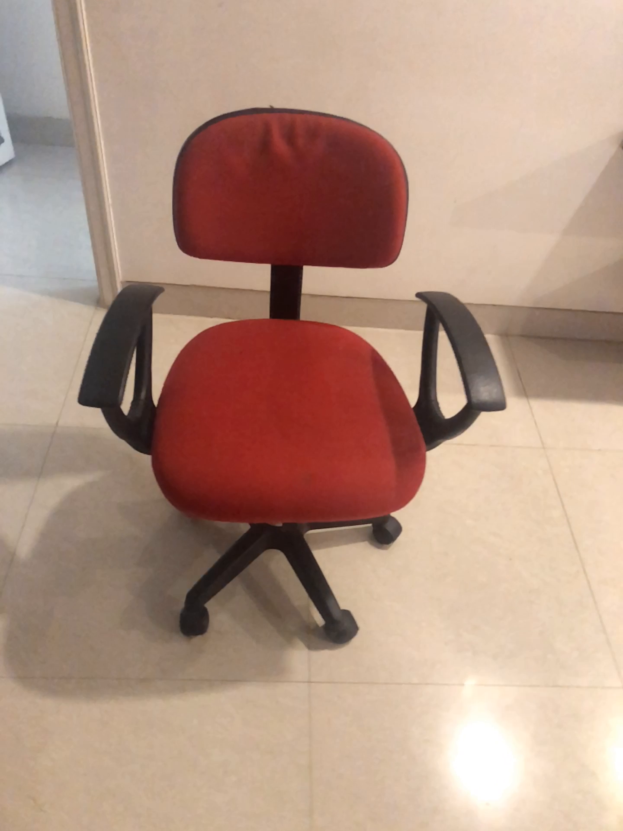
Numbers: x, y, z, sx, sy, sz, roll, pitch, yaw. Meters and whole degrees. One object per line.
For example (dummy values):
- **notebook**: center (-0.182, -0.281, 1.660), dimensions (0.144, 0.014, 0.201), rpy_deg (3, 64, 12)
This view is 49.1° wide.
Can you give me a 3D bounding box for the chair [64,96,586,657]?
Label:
- **chair**: center (-0.020, -0.039, 1.170), dimensions (0.540, 0.725, 0.604), rpy_deg (1, 46, -5)
